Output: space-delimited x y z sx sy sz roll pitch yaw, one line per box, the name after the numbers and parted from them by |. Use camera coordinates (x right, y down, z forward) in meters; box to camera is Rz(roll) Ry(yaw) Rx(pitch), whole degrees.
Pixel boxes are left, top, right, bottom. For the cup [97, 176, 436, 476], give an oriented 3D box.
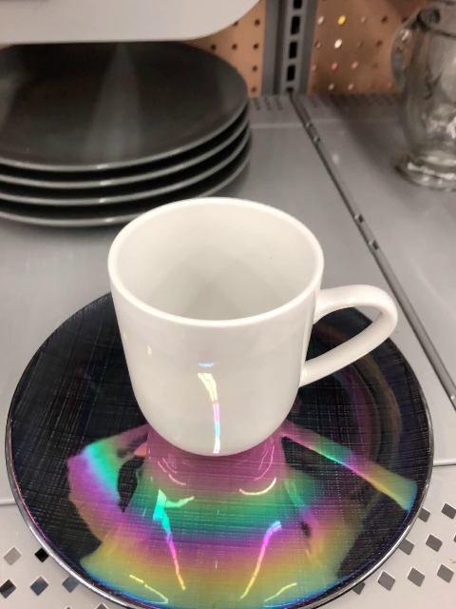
0.009 0.009 0.229 0.113 0.098 0.078 -5 42 -6 | cup
